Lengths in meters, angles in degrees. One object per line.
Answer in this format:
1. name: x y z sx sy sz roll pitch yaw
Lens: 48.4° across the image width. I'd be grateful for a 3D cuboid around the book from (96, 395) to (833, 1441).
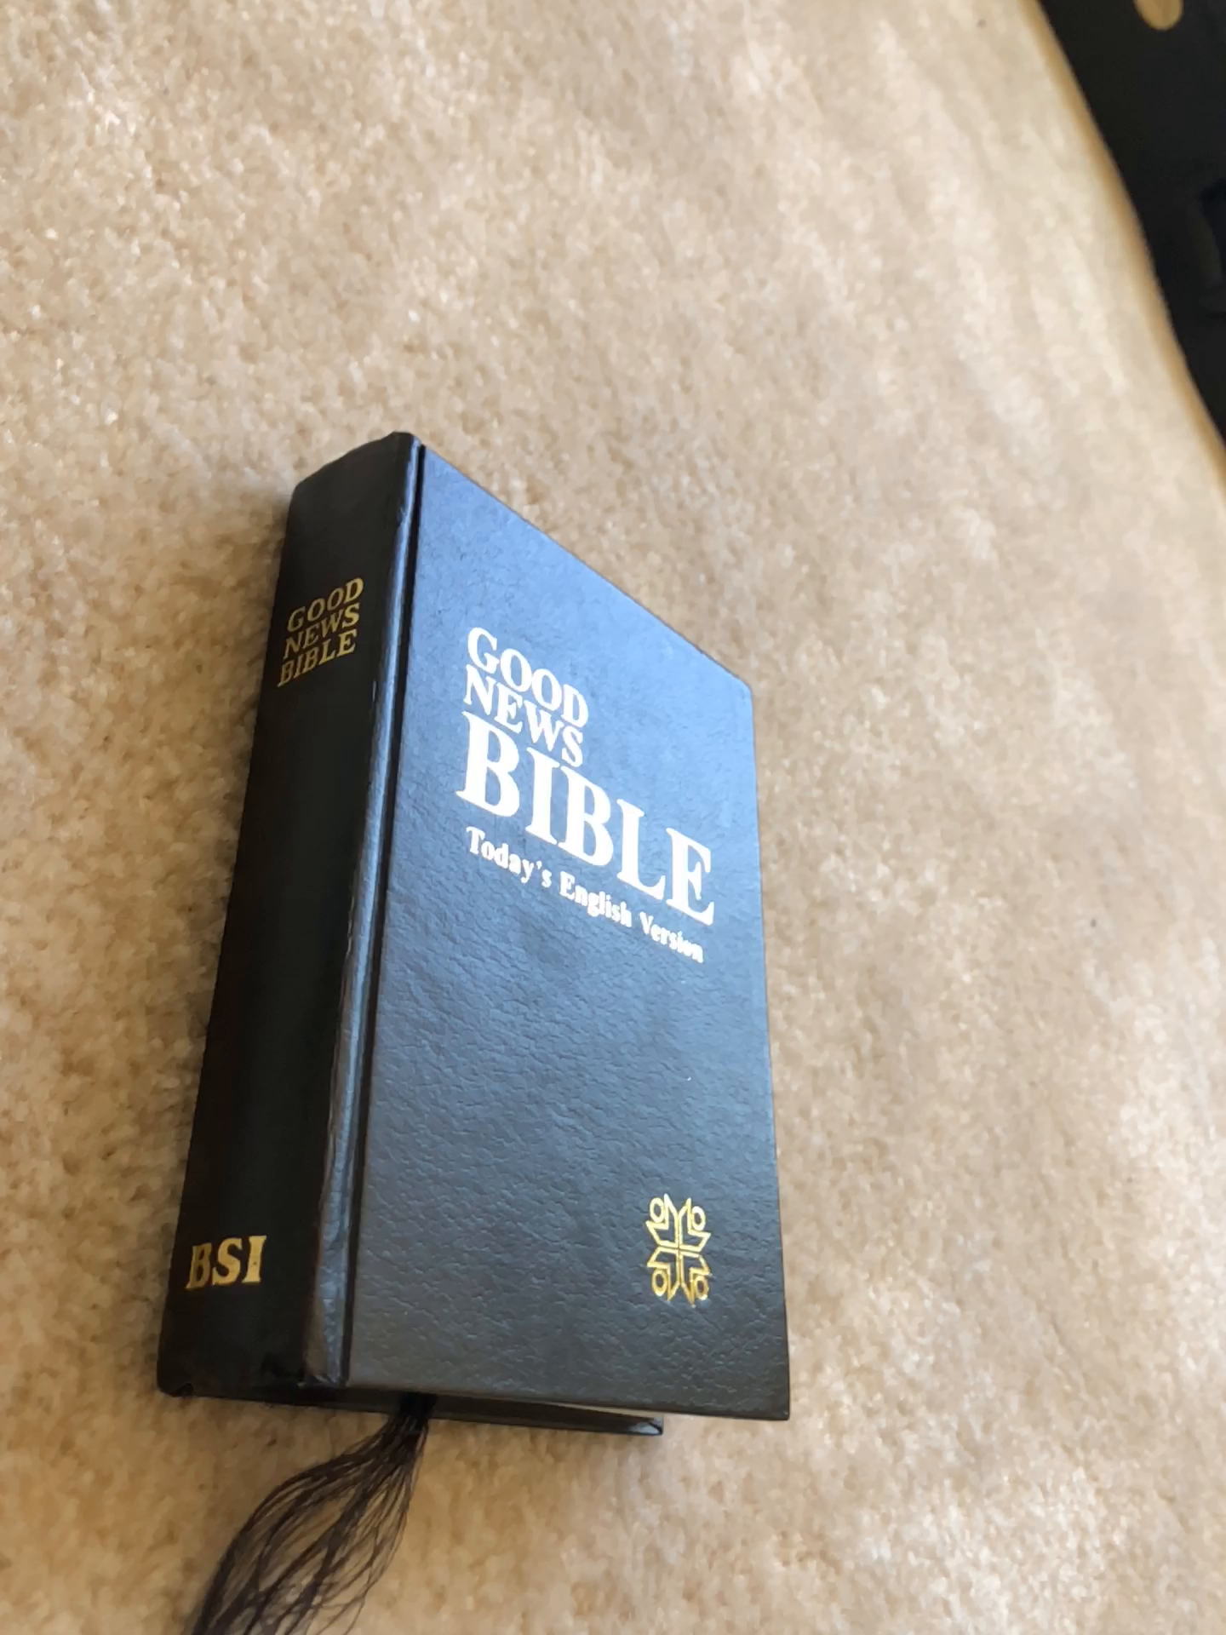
1. book: -0.016 0.025 0.255 0.124 0.040 0.160 29 50 -43
